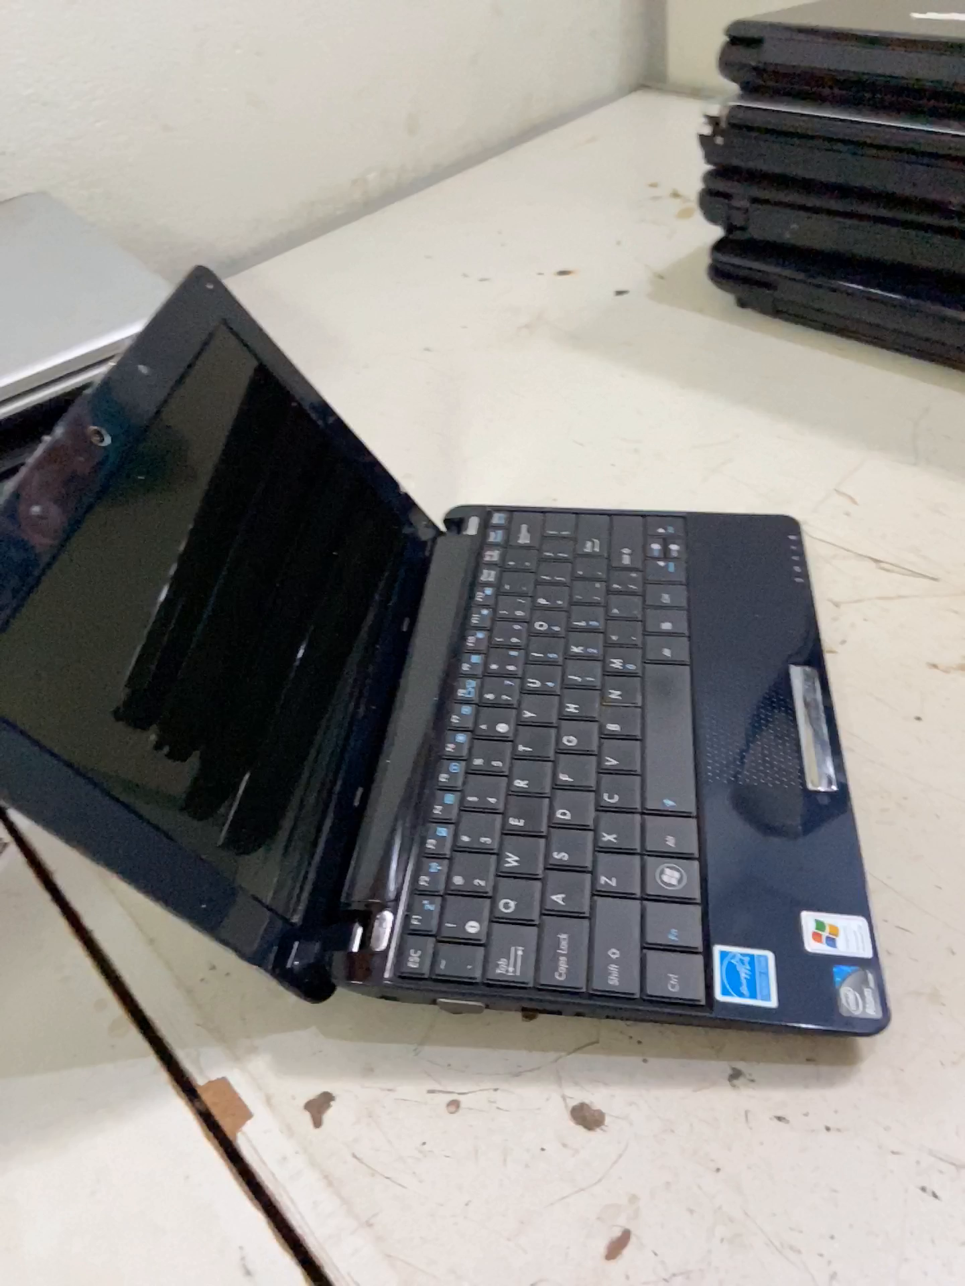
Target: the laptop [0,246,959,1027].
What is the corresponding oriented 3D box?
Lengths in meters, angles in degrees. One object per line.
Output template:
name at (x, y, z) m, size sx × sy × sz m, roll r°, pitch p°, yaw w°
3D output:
laptop at (-0.007, -0.030, 0.371) m, size 0.273 × 0.133 × 0.261 m, roll 2°, pitch 43°, yaw 8°
